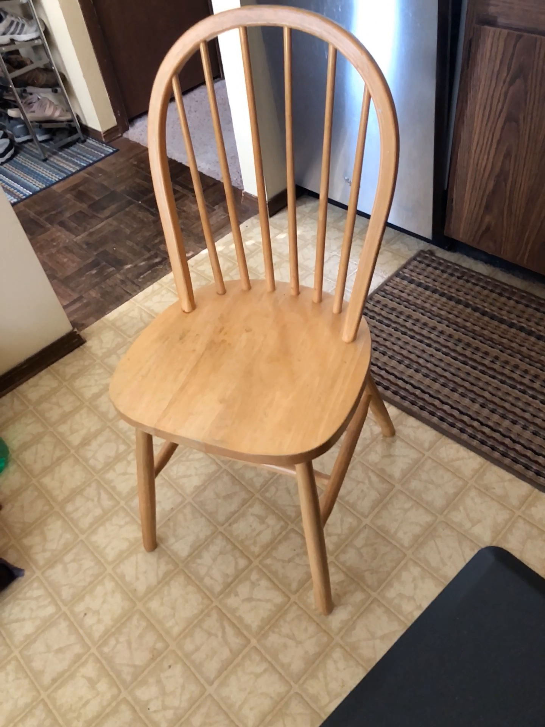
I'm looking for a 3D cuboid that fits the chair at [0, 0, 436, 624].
[{"bbox_3d":[-0.039,-0.067,1.036,0.460,0.898,0.560,12,49,20],"label":"chair"}]
